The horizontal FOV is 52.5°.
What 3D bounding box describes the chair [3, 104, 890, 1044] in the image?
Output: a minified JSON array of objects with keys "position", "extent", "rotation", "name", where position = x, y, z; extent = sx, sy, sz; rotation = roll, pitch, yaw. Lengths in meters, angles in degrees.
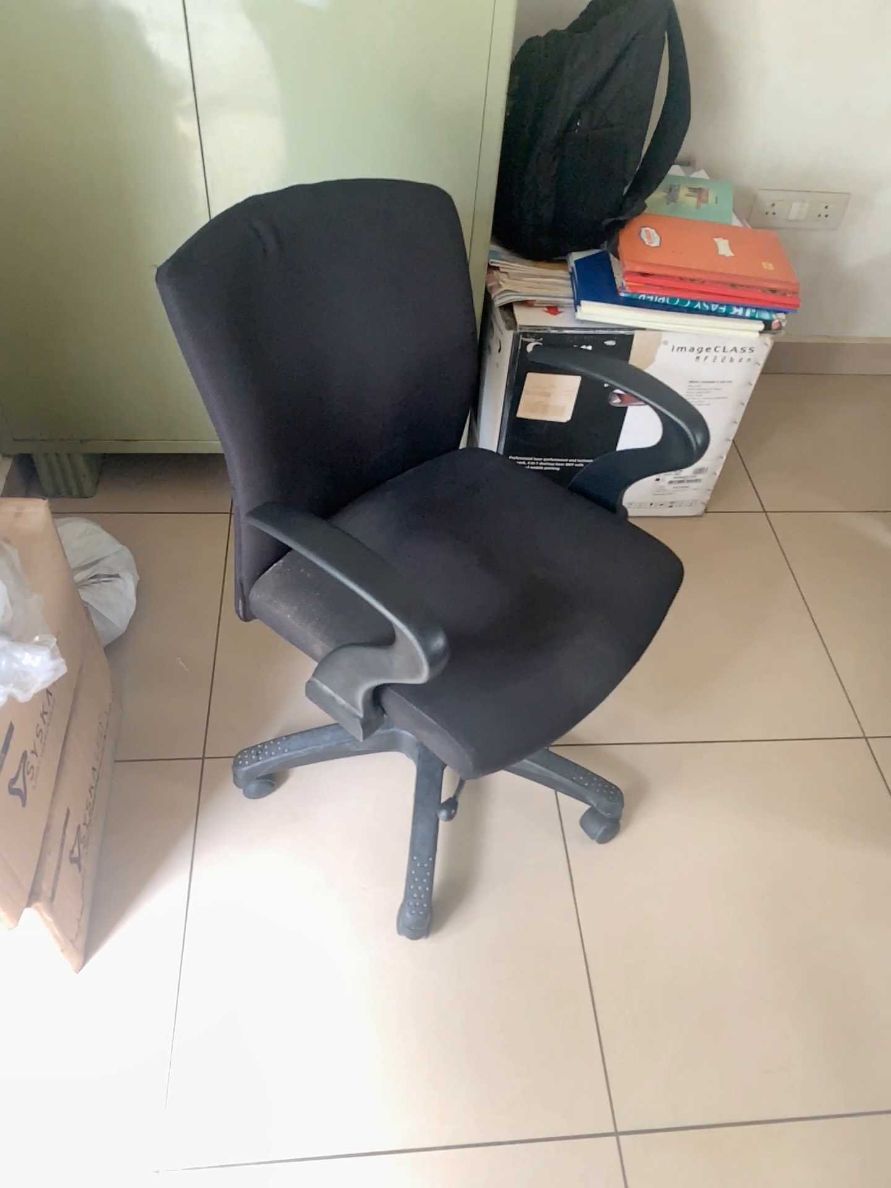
[{"position":[0.014,-0.018,1.305],"extent":[0.701,0.927,0.702],"rotation":[34,54,22],"name":"chair"}]
